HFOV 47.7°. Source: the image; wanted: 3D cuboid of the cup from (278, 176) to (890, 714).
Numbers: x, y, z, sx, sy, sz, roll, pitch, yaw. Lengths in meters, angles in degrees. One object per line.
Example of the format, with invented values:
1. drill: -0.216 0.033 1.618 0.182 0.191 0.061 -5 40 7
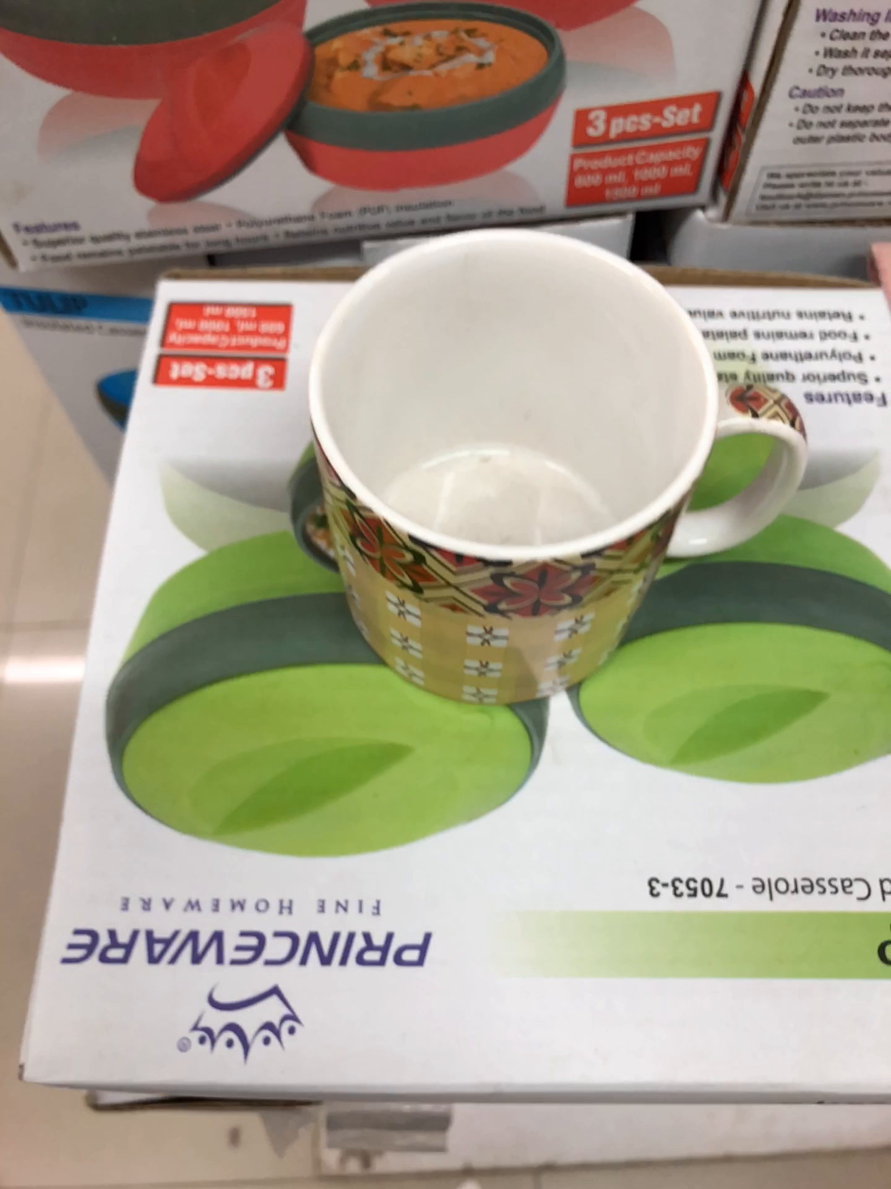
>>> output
1. cup: 0.027 -0.028 0.214 0.110 0.080 0.080 -1 63 -1
